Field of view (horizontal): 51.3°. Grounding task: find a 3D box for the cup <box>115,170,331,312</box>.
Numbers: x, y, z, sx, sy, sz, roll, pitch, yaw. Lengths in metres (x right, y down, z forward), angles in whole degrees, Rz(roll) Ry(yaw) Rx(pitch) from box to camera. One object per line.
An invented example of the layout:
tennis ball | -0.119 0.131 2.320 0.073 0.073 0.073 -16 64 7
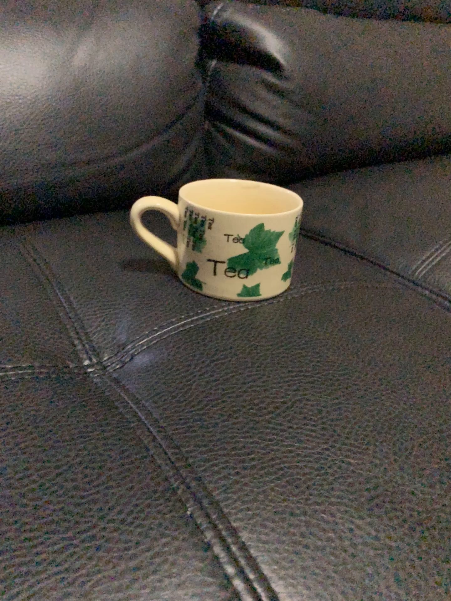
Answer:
cup | -0.008 -0.044 0.306 0.118 0.060 0.091 -2 29 -10
